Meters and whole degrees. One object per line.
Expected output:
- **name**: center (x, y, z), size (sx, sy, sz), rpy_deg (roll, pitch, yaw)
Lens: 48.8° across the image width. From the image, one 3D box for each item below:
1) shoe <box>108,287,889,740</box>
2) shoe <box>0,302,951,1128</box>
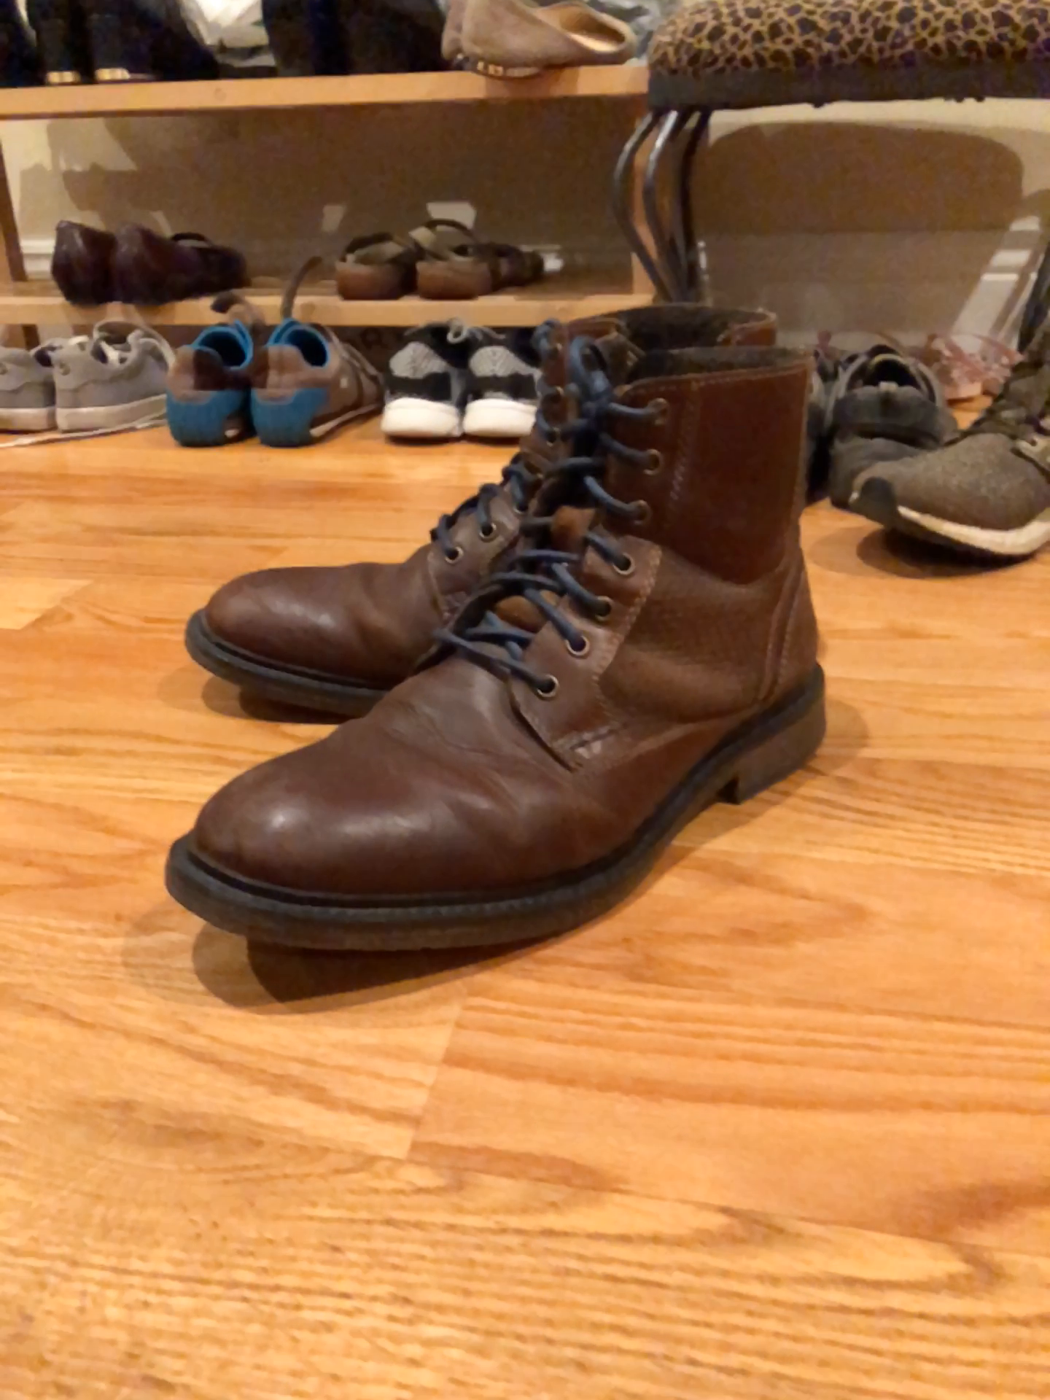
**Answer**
- **shoe**: center (-0.010, -0.093, 0.543), size (0.310, 0.168, 0.113), rpy_deg (-4, 25, -5)
- **shoe**: center (0.006, -0.030, 0.415), size (0.304, 0.176, 0.128), rpy_deg (-23, 33, -38)
